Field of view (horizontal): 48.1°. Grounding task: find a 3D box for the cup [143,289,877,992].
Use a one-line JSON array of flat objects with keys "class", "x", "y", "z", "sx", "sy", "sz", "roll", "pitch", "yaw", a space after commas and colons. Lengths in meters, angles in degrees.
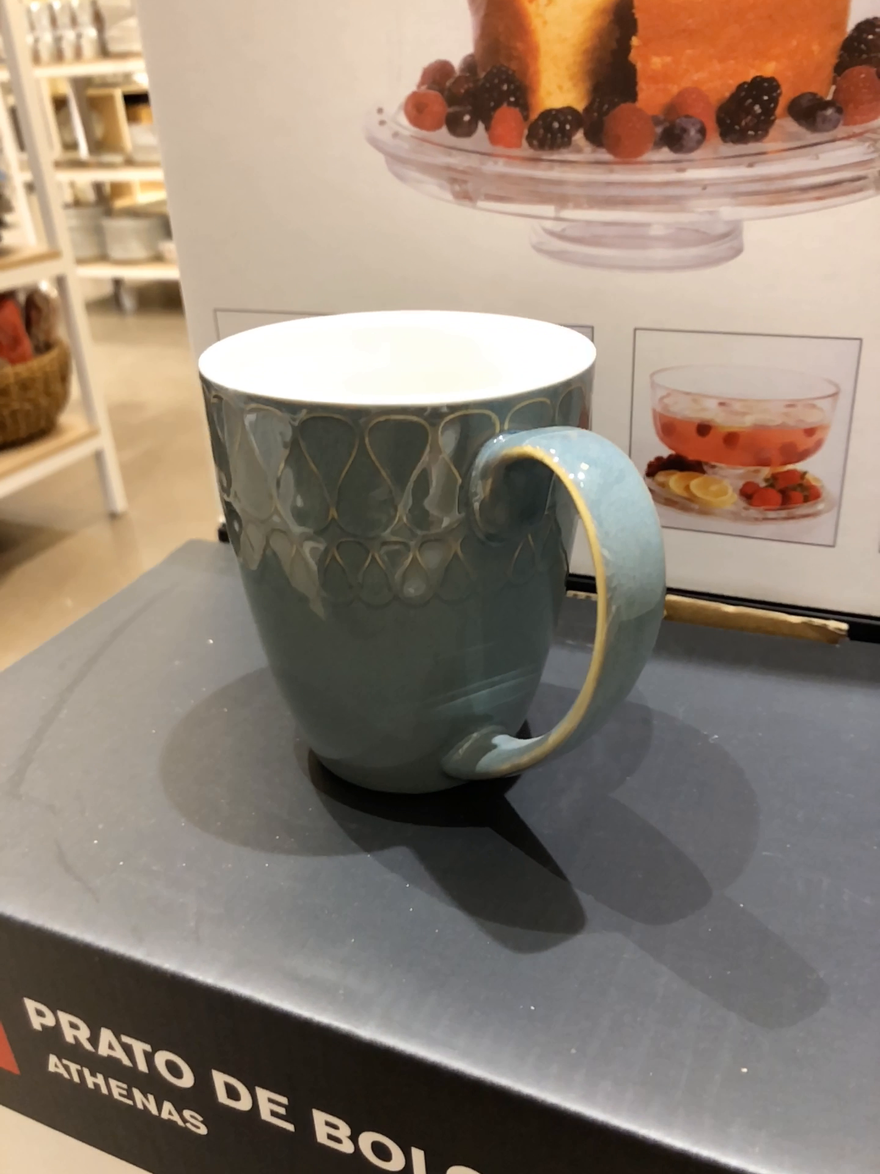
[{"class": "cup", "x": 0.011, "y": -0.004, "z": 0.233, "sx": 0.090, "sy": 0.099, "sz": 0.130, "roll": -25, "pitch": 34, "yaw": -35}]
